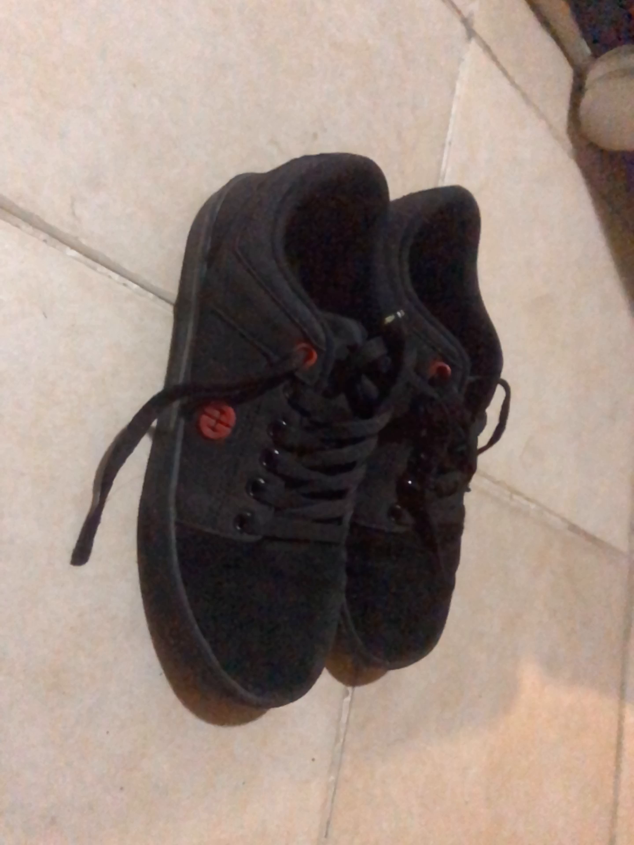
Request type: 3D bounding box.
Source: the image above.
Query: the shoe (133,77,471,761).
[{"bbox_3d":[-0.003,0.001,0.314,0.101,0.099,0.240,10,77,-43],"label":"shoe"}]

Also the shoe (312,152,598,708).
[{"bbox_3d":[0.070,0.006,0.372,0.101,0.099,0.240,5,81,-43],"label":"shoe"}]
